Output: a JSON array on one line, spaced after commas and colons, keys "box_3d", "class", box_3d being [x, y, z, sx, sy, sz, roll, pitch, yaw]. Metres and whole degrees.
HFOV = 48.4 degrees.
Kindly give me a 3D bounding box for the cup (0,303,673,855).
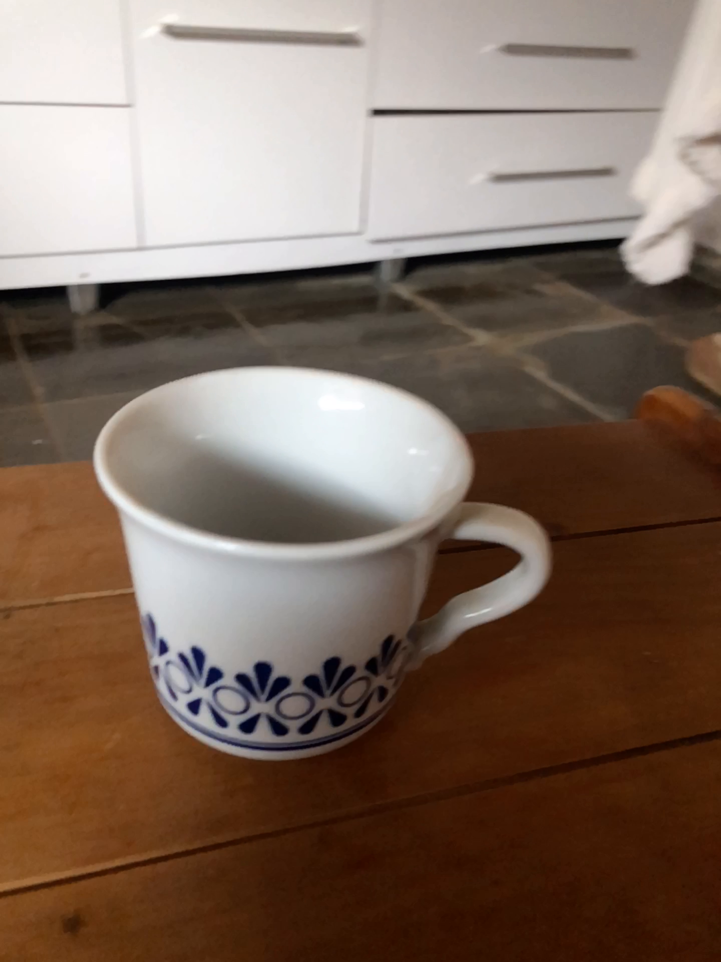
[{"box_3d": [-0.009, 0.016, 0.205, 0.130, 0.079, 0.101, 7, 31, 2], "class": "cup"}]
